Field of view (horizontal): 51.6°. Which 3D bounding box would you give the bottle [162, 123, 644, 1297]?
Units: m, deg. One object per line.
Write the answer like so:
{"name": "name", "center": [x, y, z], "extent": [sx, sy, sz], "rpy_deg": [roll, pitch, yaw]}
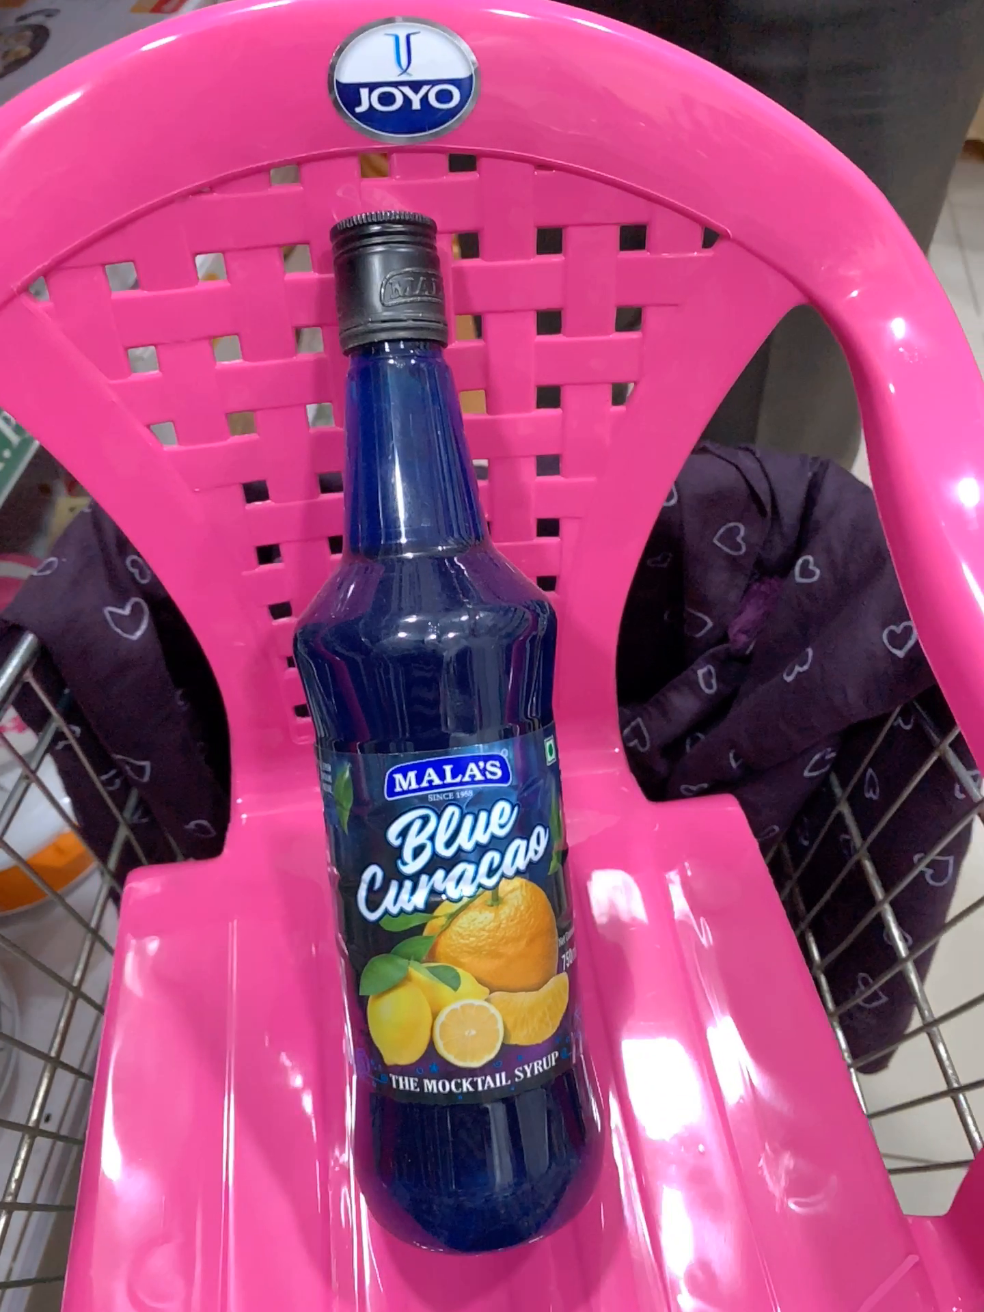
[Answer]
{"name": "bottle", "center": [-0.020, 0.016, 0.275], "extent": [0.080, 0.270, 0.080], "rpy_deg": [-6, 10, 1]}
